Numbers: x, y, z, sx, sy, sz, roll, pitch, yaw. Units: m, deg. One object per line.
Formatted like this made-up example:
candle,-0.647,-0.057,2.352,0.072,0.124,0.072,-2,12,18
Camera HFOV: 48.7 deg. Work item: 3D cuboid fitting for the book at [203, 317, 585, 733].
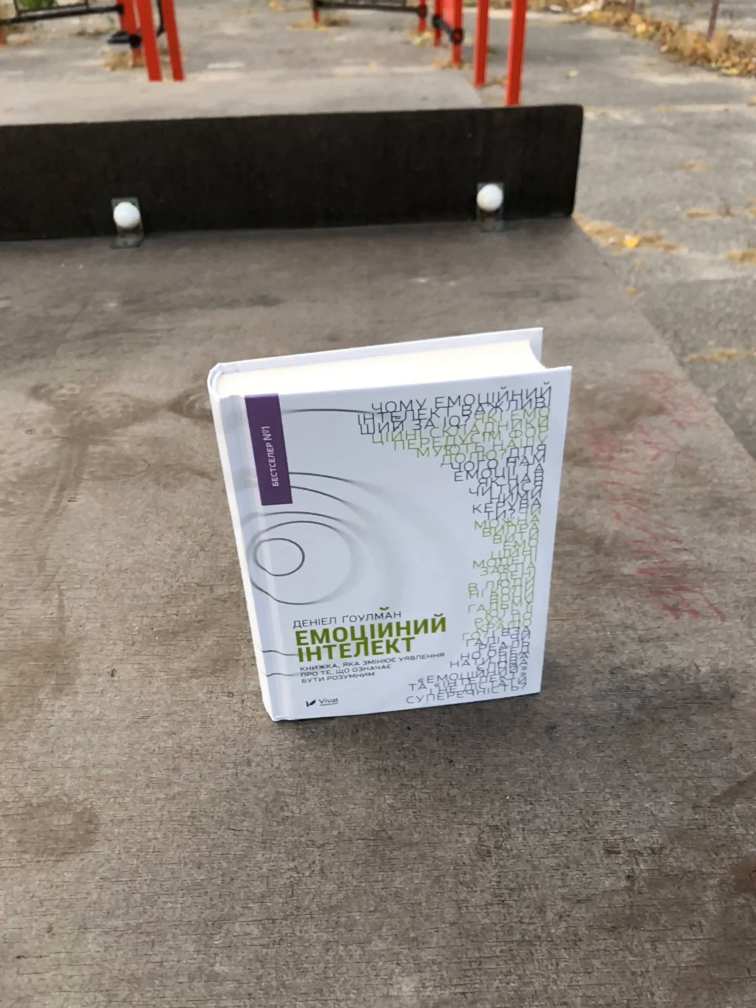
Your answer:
book,0.008,0.019,0.427,0.160,0.208,0.050,-6,35,-5
